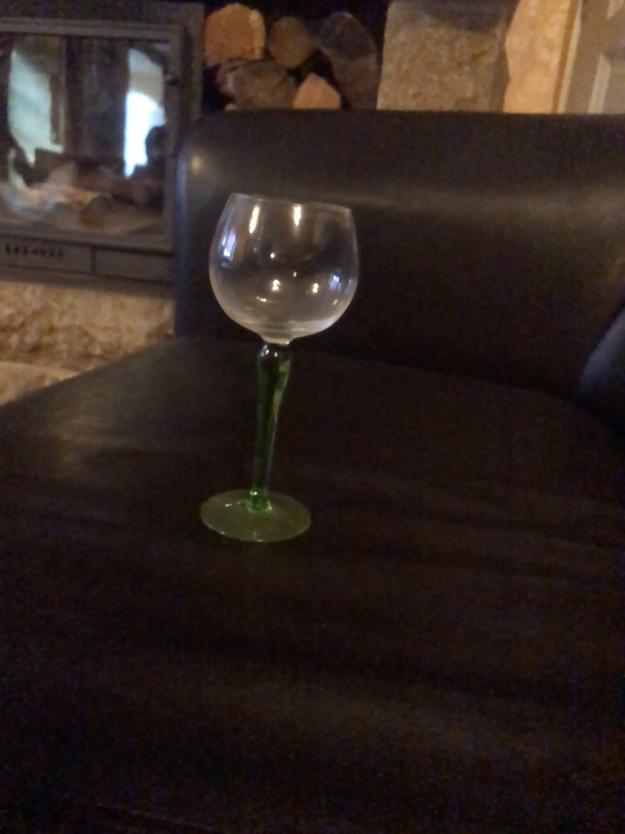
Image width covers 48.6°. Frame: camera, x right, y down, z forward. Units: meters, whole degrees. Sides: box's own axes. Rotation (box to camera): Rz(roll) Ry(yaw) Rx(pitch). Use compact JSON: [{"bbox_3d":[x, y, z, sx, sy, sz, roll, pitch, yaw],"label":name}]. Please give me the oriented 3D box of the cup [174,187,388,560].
[{"bbox_3d":[-0.018,-0.028,0.399,0.079,0.185,0.080,7,16,-2],"label":"cup"}]
